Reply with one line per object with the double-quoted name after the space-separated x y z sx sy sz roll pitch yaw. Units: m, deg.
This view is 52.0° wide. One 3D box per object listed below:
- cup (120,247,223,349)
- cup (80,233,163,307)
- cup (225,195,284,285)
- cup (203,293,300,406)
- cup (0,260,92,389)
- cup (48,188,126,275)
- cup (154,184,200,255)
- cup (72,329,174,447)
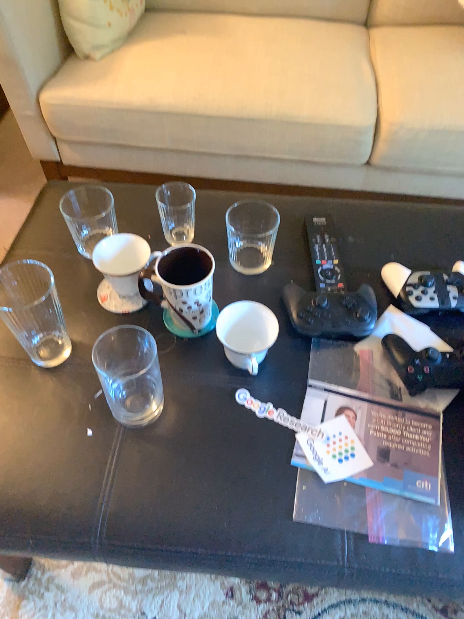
-0.084 -0.016 0.720 0.130 0.119 0.090 4 53 3 "cup"
-0.170 -0.062 0.754 0.110 0.070 0.090 -2 53 -1 "cup"
0.036 -0.116 0.807 0.090 0.119 0.090 0 53 0 "cup"
0.025 0.056 0.682 0.090 0.080 0.110 -23 56 -16 "cup"
-0.277 0.028 0.686 0.090 0.189 0.090 0 53 0 "cup"
-0.249 -0.135 0.834 0.090 0.119 0.090 0 53 0 "cup"
-0.096 -0.158 0.843 0.070 0.100 0.070 0 53 0 "cup"
-0.130 0.103 0.603 0.090 0.139 0.090 0 53 0 "cup"
